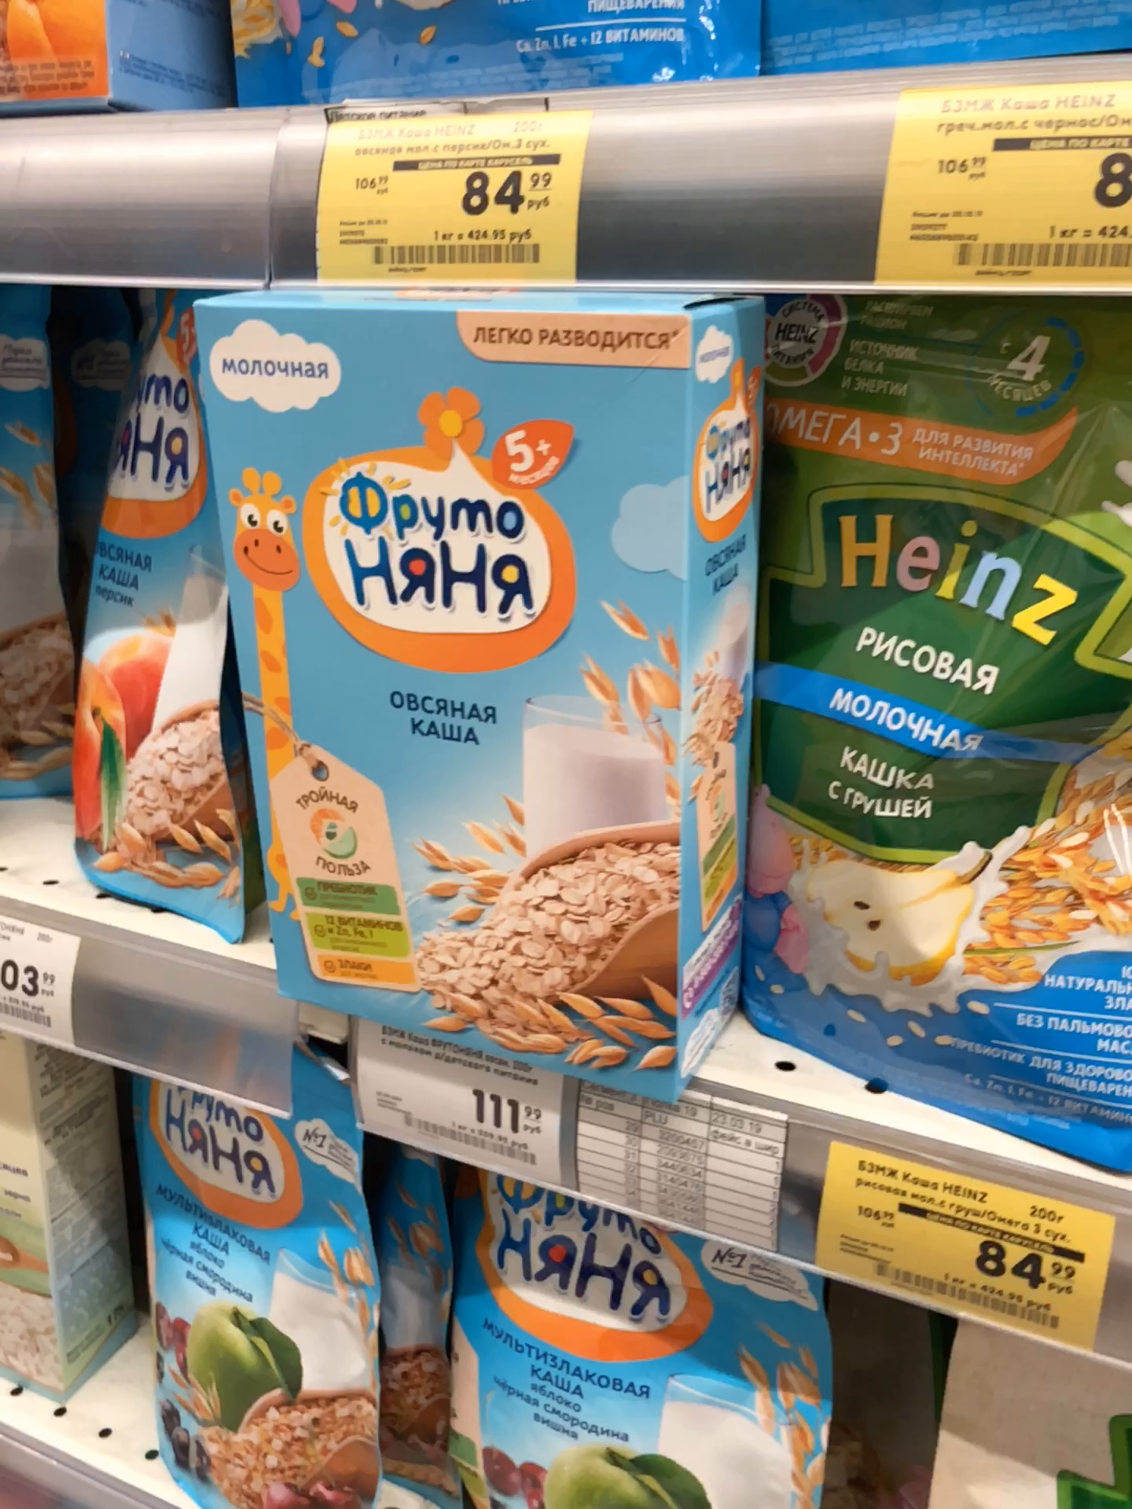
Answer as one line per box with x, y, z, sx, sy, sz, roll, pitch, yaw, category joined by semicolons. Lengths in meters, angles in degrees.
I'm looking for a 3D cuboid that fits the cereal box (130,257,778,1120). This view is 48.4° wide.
-0.025;-0.020;0.324;0.140;0.199;0.050;9;25;23;cereal box
